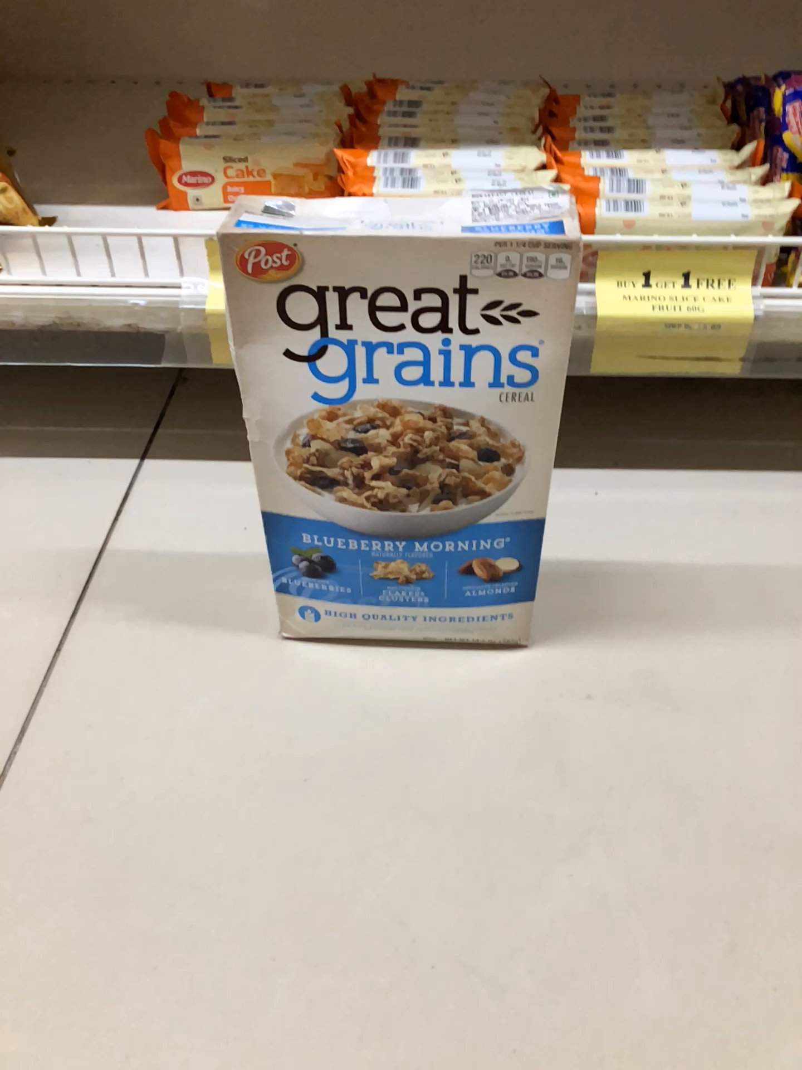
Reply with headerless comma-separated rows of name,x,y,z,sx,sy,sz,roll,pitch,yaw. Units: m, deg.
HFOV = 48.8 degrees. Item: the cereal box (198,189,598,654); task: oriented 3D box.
cereal box,0.000,-0.046,0.483,0.170,0.258,0.060,1,41,2
